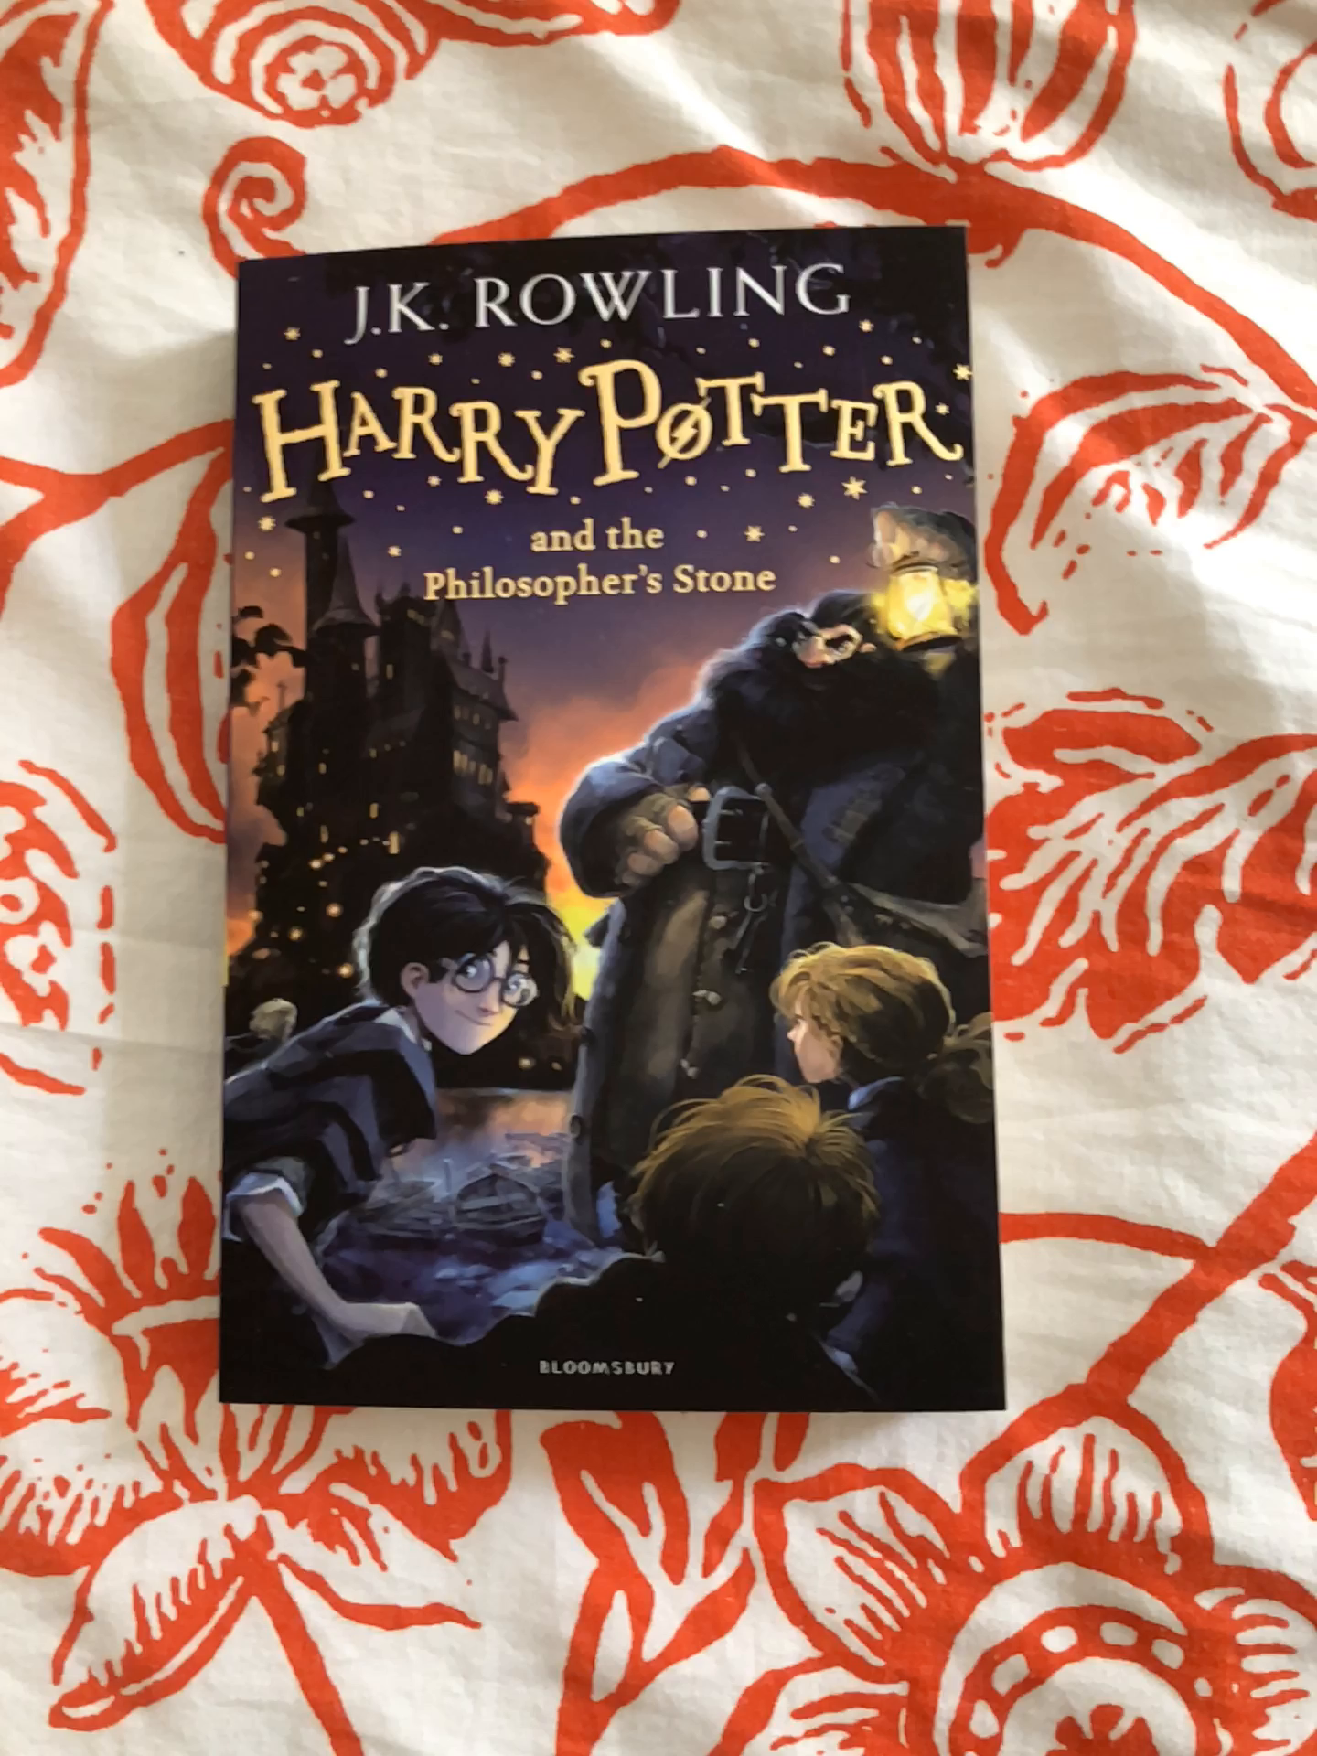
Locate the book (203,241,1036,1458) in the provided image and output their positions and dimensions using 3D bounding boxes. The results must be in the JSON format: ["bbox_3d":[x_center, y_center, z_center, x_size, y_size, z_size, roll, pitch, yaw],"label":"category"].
[{"bbox_3d":[-0.005,-0.008,0.242,0.127,0.020,0.189,1,86,4],"label":"book"}]
